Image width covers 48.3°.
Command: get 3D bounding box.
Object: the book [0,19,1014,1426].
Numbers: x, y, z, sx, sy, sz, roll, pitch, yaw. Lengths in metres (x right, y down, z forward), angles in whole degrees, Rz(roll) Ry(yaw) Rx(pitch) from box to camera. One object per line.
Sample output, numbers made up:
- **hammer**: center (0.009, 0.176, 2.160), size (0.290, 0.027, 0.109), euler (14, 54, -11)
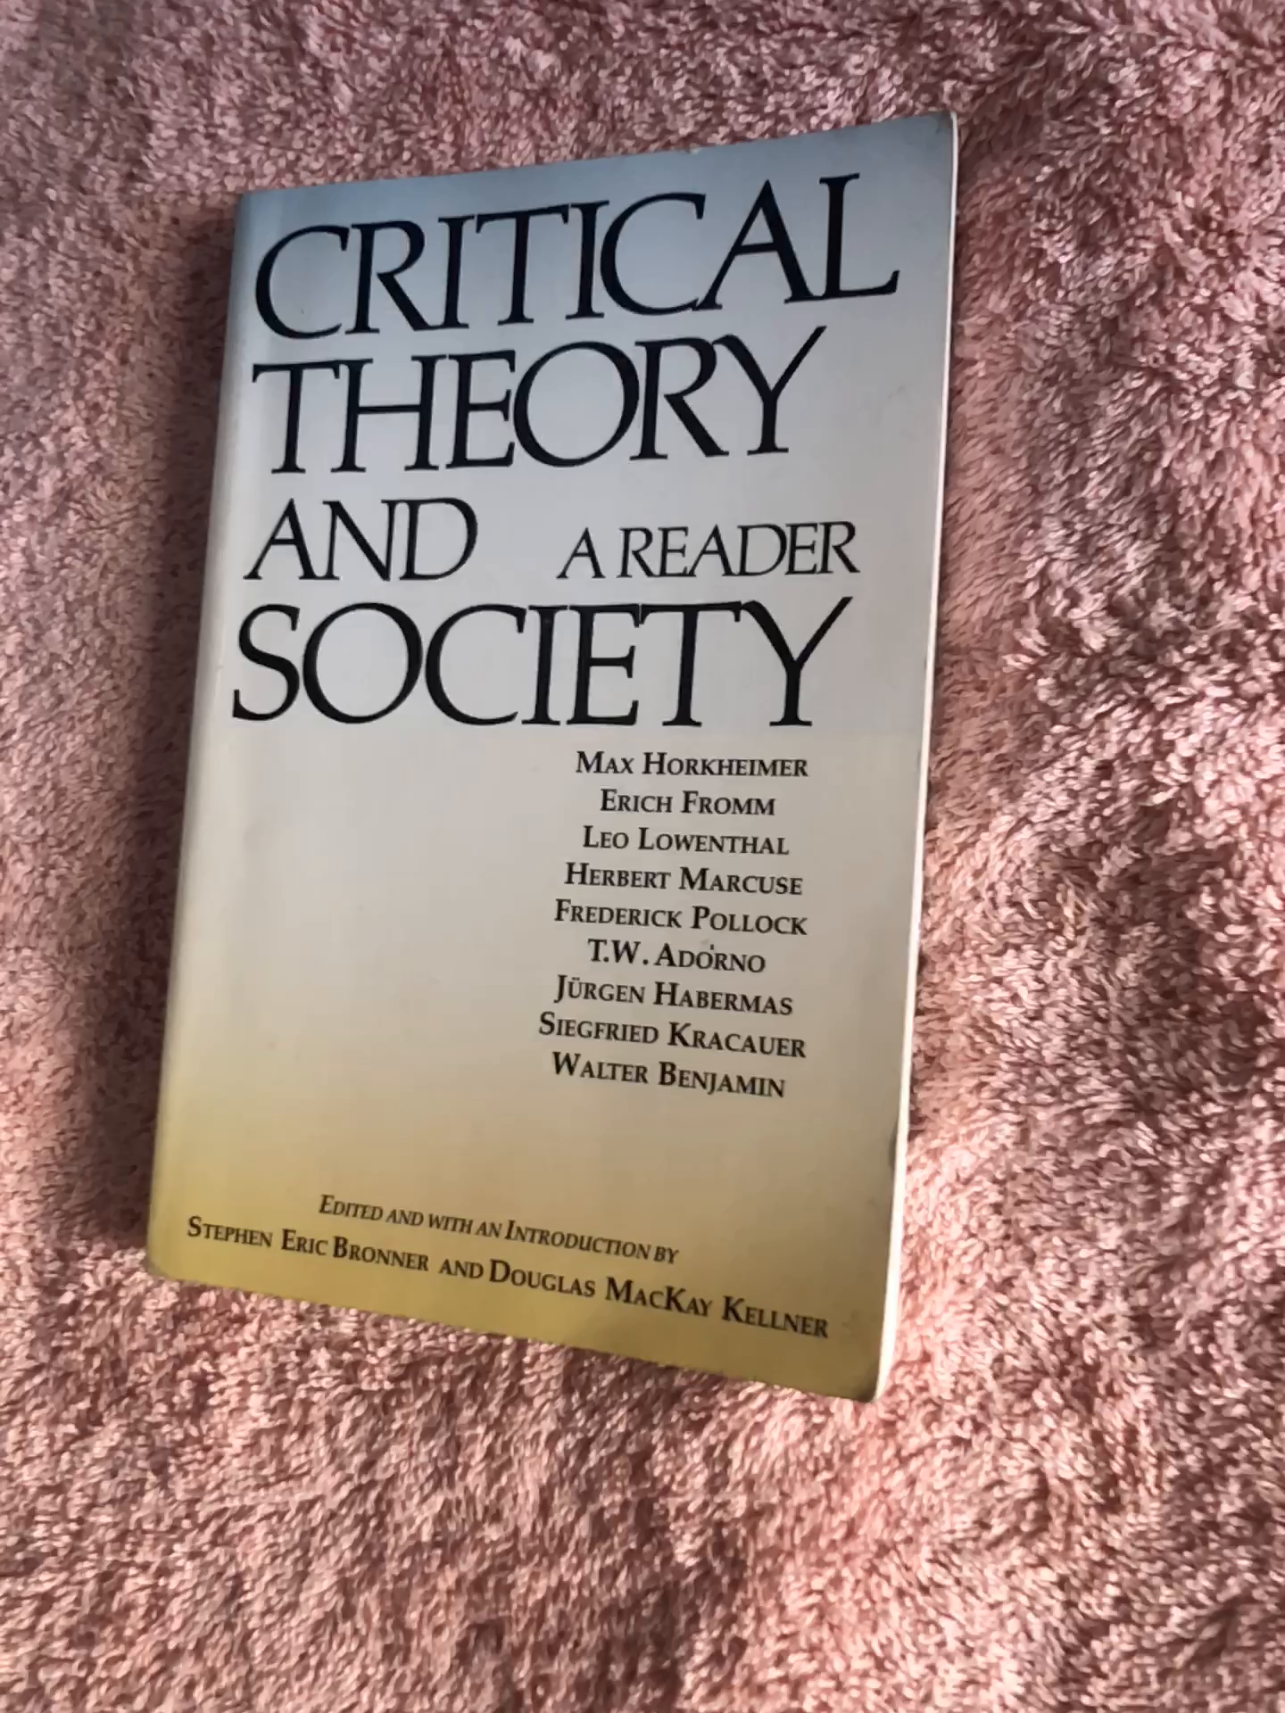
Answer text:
- **book**: center (-0.022, -0.028, 0.277), size (0.170, 0.050, 0.230), euler (3, 84, 16)
